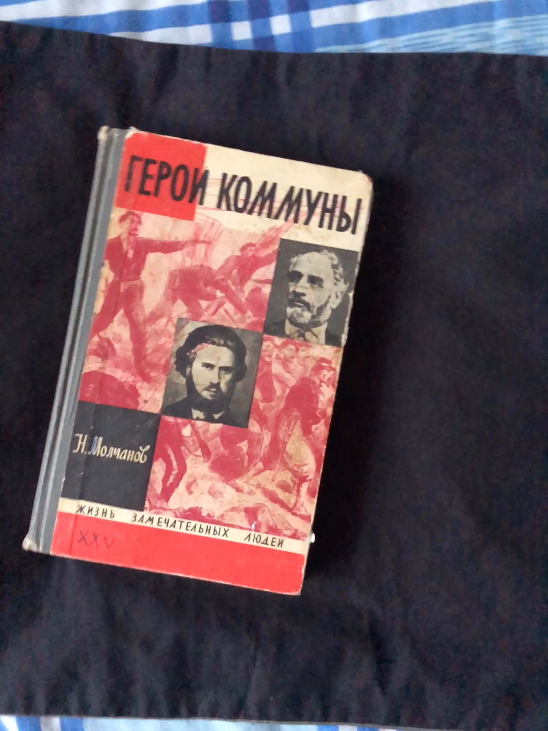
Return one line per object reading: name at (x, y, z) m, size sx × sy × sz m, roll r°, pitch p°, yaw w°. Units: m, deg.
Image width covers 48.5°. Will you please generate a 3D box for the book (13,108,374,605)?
book at (-0.035, -0.004, 0.297) m, size 0.128 × 0.060 × 0.200 m, roll 9°, pitch 89°, yaw 0°
